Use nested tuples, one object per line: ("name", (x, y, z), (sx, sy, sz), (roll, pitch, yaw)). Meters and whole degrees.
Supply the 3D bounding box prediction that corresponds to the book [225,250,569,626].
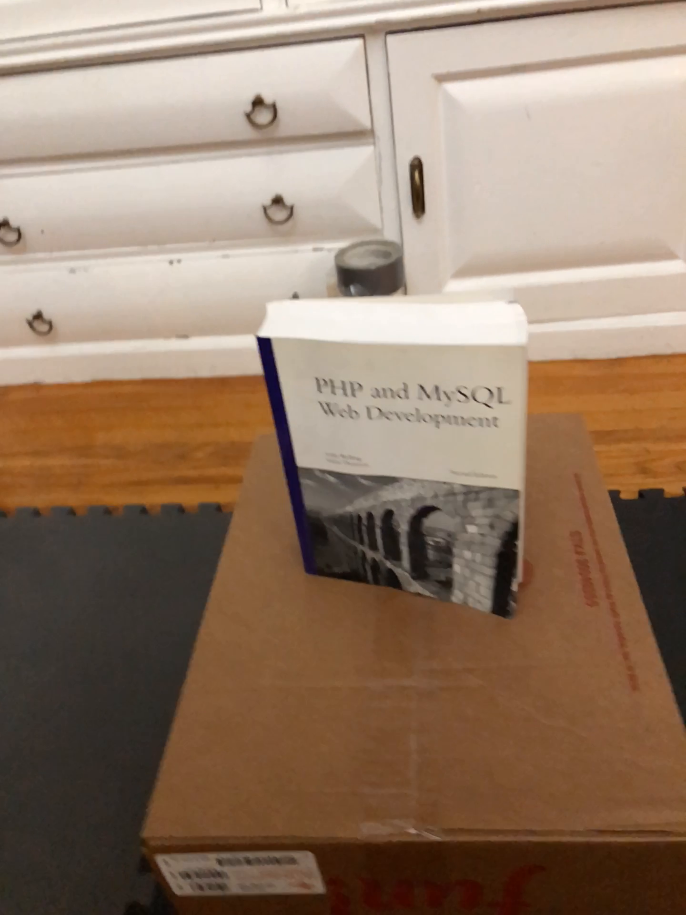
("book", (0.051, -0.004, 0.550), (0.200, 0.258, 0.091), (1, 38, 13))
